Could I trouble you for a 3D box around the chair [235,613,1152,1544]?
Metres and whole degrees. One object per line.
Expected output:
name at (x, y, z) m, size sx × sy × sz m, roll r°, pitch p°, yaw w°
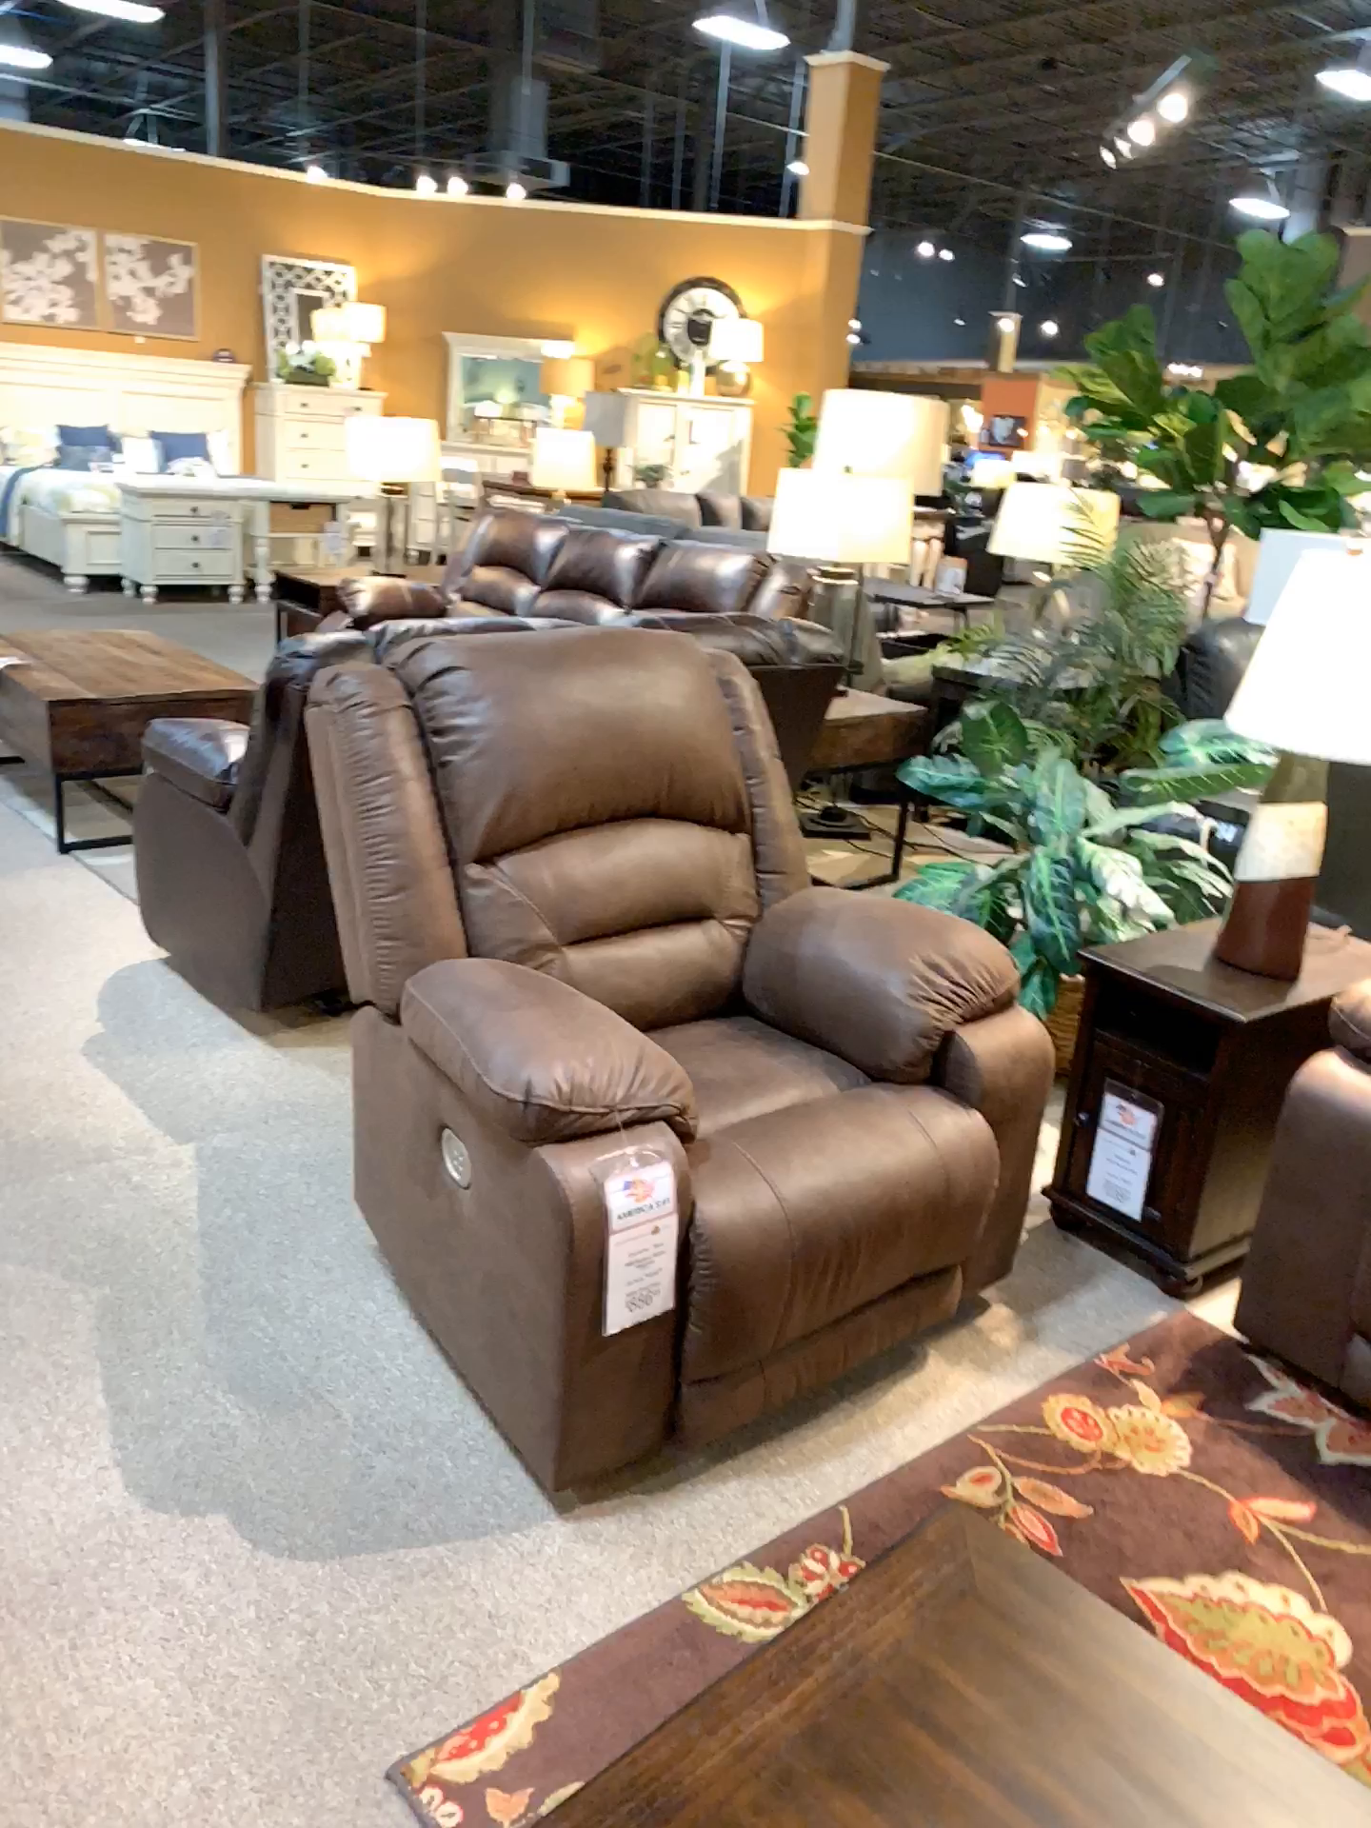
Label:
chair at (-0.059, 0.102, 2.351) m, size 1.002 × 1.028 × 1.067 m, roll -10°, pitch 24°, yaw -37°
